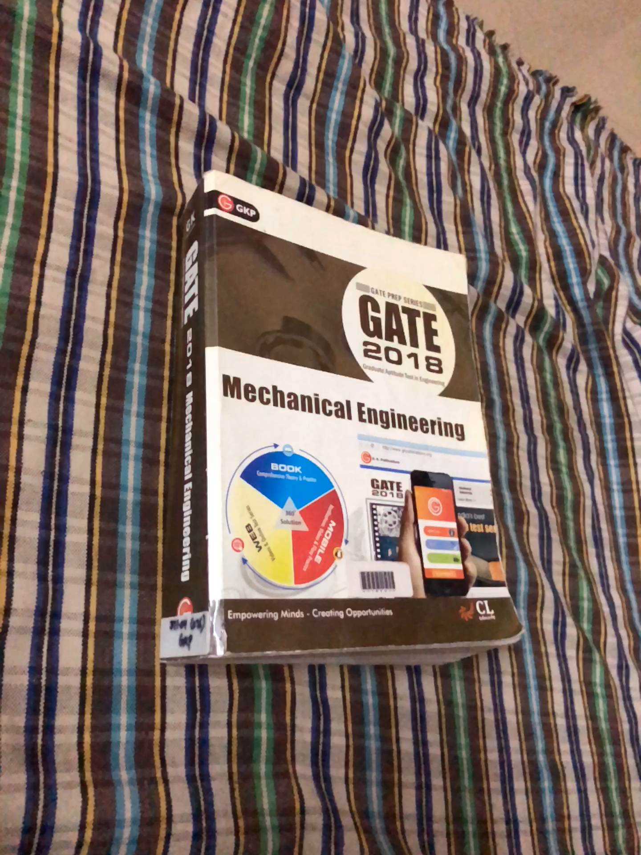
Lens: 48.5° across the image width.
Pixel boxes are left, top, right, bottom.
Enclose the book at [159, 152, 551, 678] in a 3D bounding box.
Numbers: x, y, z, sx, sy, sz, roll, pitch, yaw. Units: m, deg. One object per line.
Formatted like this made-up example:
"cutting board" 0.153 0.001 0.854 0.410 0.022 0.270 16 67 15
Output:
"book" 0.019 0.003 0.428 0.211 0.075 0.264 10 66 -35
